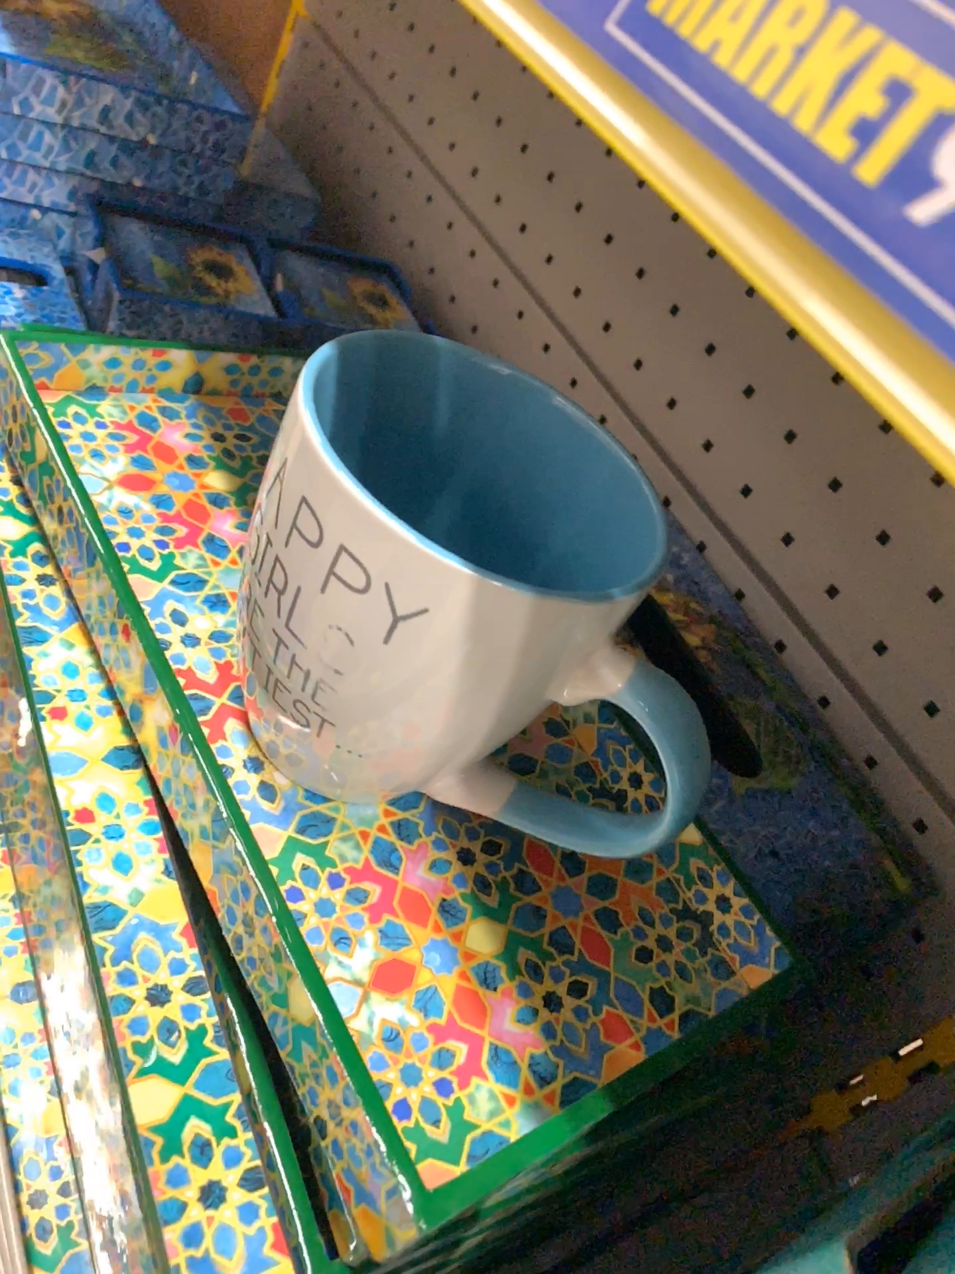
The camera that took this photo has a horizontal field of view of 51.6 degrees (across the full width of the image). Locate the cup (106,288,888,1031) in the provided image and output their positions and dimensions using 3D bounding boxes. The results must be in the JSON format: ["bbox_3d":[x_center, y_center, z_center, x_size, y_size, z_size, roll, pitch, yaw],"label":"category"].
[{"bbox_3d":[0.003,-0.008,0.273,0.150,0.100,0.120,45,38,16],"label":"cup"}]
